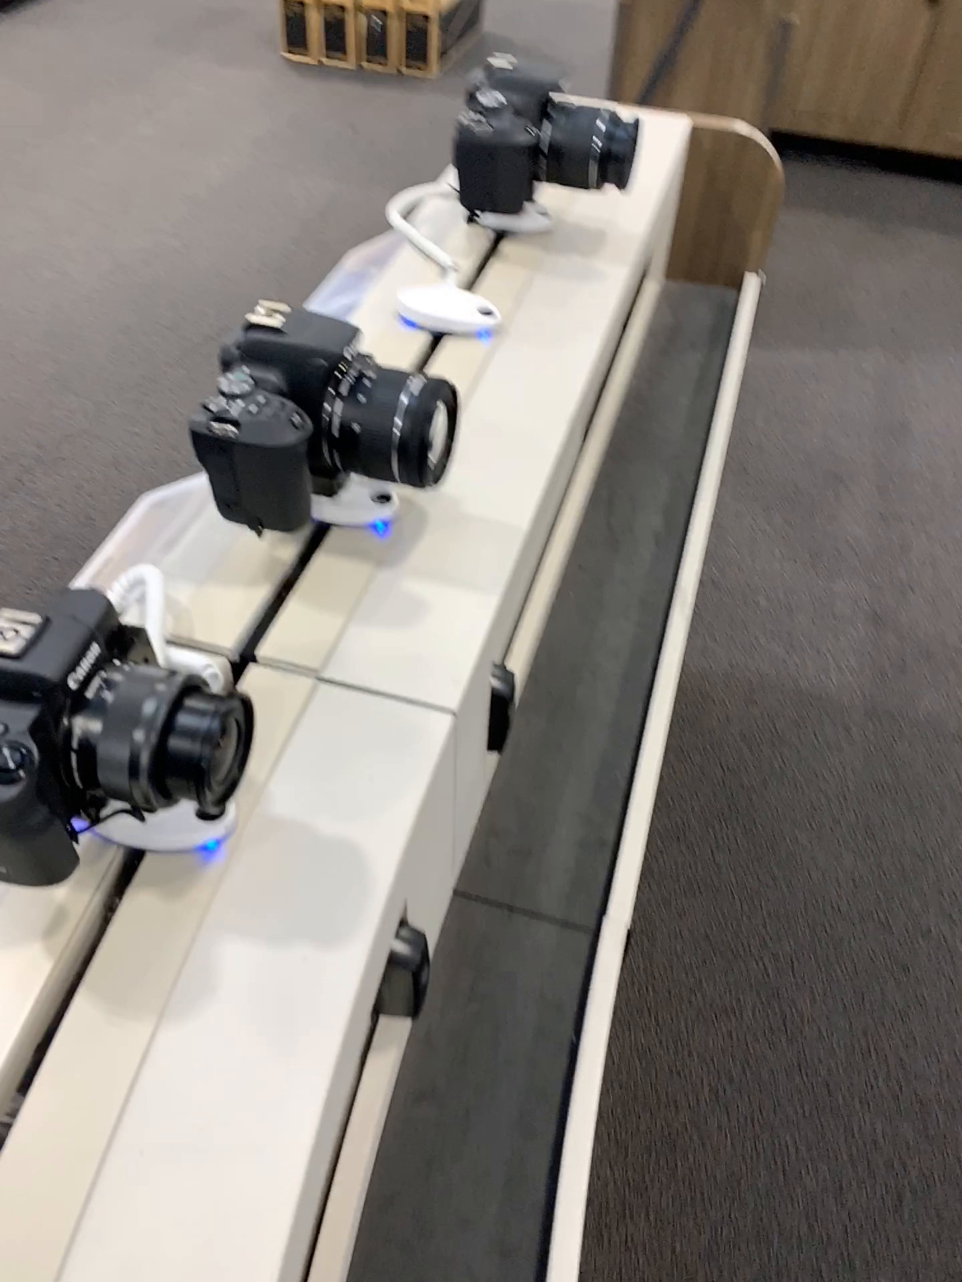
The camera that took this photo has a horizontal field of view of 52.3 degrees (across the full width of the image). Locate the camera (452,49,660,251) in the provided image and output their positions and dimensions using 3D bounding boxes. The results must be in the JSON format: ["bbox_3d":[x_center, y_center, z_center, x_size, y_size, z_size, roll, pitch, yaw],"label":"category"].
[{"bbox_3d":[0.066,-0.436,0.866,0.145,0.101,0.135,15,48,10],"label":"camera"}]

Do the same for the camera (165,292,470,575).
[{"bbox_3d":[-0.087,-0.124,0.575,0.135,0.089,0.122,11,48,7],"label":"camera"}]

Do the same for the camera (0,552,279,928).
[{"bbox_3d":[-0.164,0.041,0.423,0.111,0.088,0.112,11,48,7],"label":"camera"}]
